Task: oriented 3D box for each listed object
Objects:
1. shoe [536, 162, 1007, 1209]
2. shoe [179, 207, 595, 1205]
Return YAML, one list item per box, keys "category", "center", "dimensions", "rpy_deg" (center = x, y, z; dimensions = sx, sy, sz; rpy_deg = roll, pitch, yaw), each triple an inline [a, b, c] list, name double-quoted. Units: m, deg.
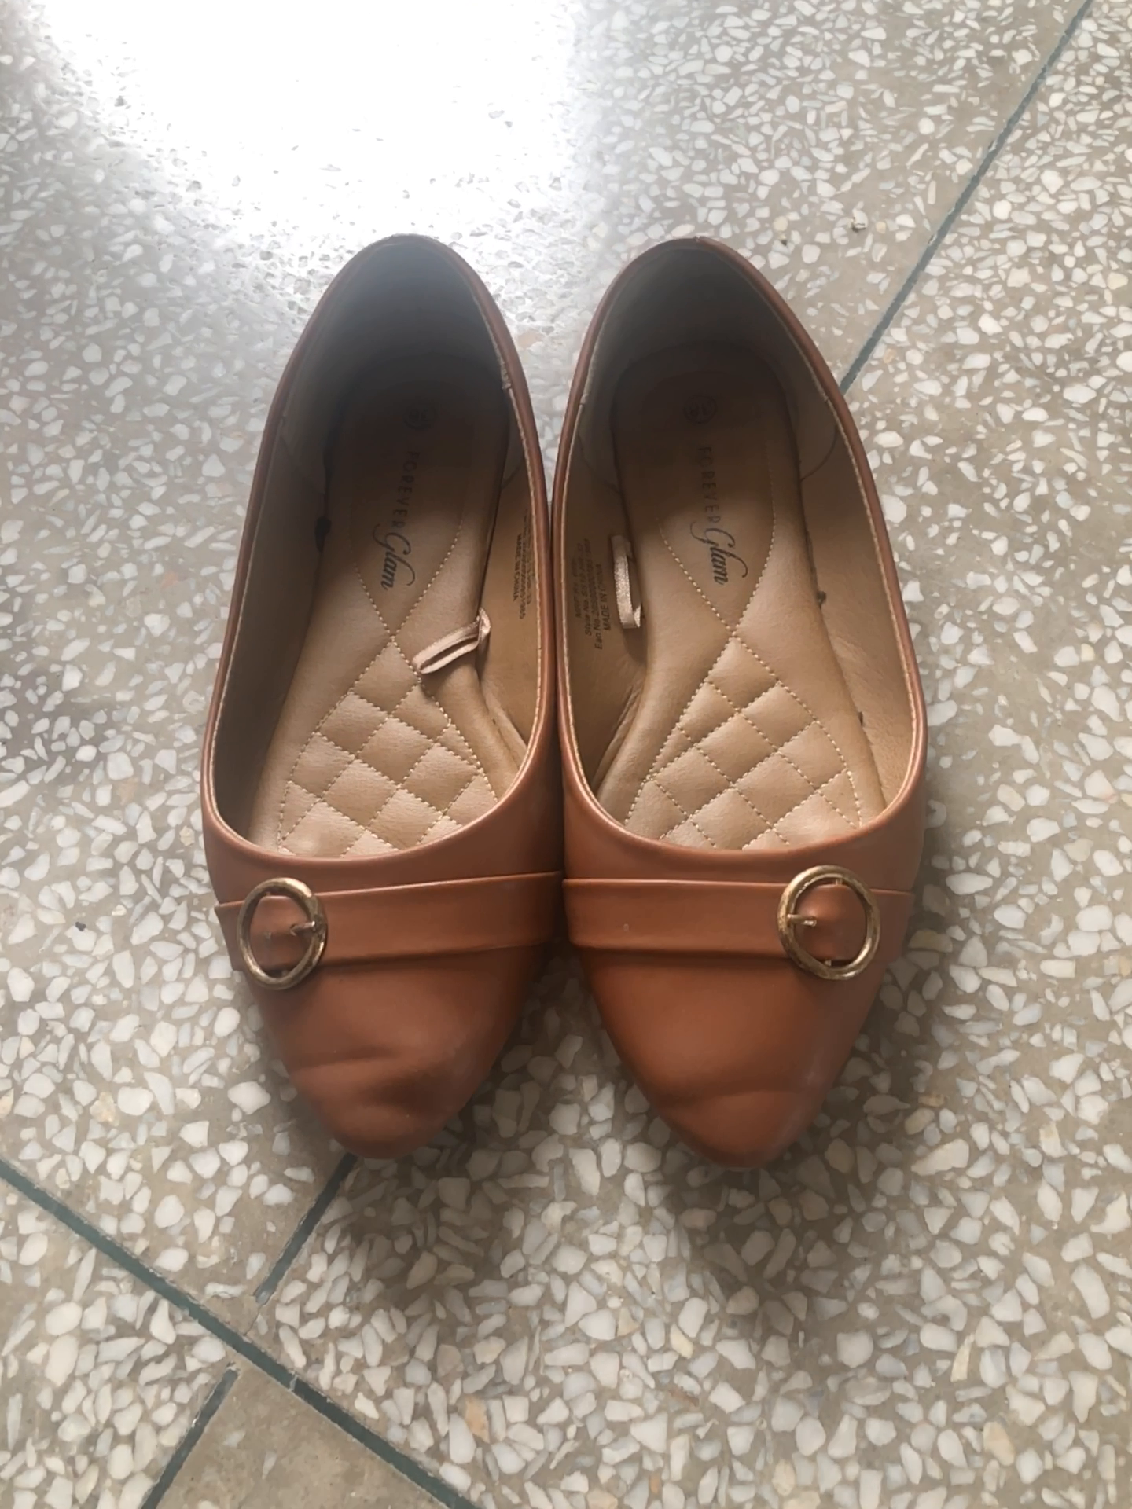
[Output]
- category: "shoe"
  center: [0.046, -0.020, 0.322]
  dimensions: [0.090, 0.050, 0.250]
  rpy_deg: [-5, 76, 10]
- category: "shoe"
  center: [-0.047, -0.015, 0.338]
  dimensions: [0.090, 0.050, 0.250]
  rpy_deg: [-5, 76, 10]
